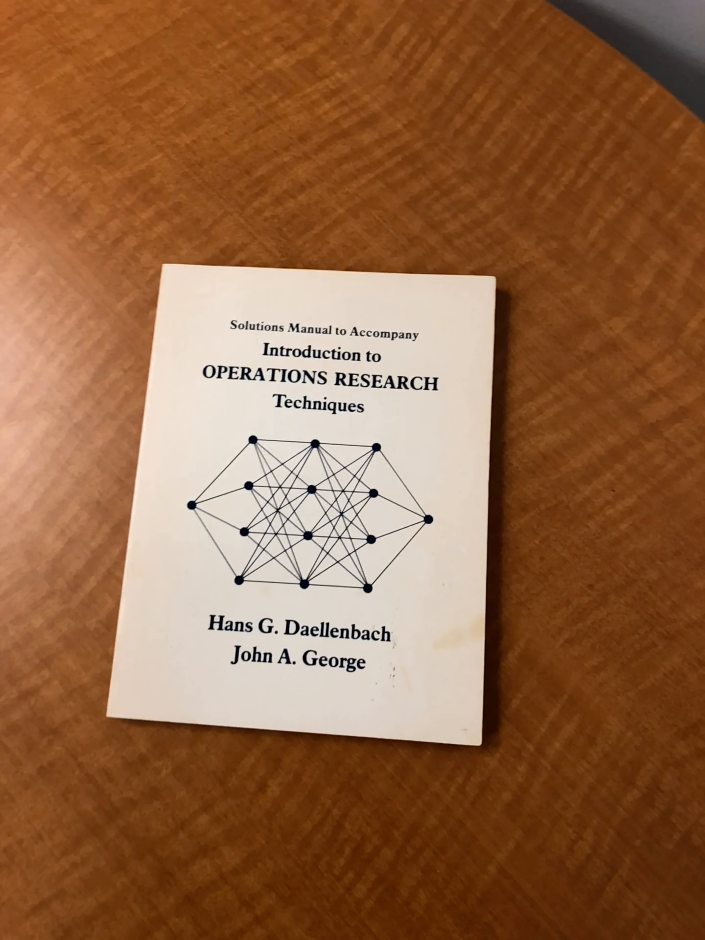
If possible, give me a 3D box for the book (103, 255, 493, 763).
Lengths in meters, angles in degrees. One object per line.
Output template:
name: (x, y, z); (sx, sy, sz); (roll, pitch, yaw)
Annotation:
book: (-0.021, 0.012, 0.401); (0.180, 0.020, 0.250); (3, 77, 2)
